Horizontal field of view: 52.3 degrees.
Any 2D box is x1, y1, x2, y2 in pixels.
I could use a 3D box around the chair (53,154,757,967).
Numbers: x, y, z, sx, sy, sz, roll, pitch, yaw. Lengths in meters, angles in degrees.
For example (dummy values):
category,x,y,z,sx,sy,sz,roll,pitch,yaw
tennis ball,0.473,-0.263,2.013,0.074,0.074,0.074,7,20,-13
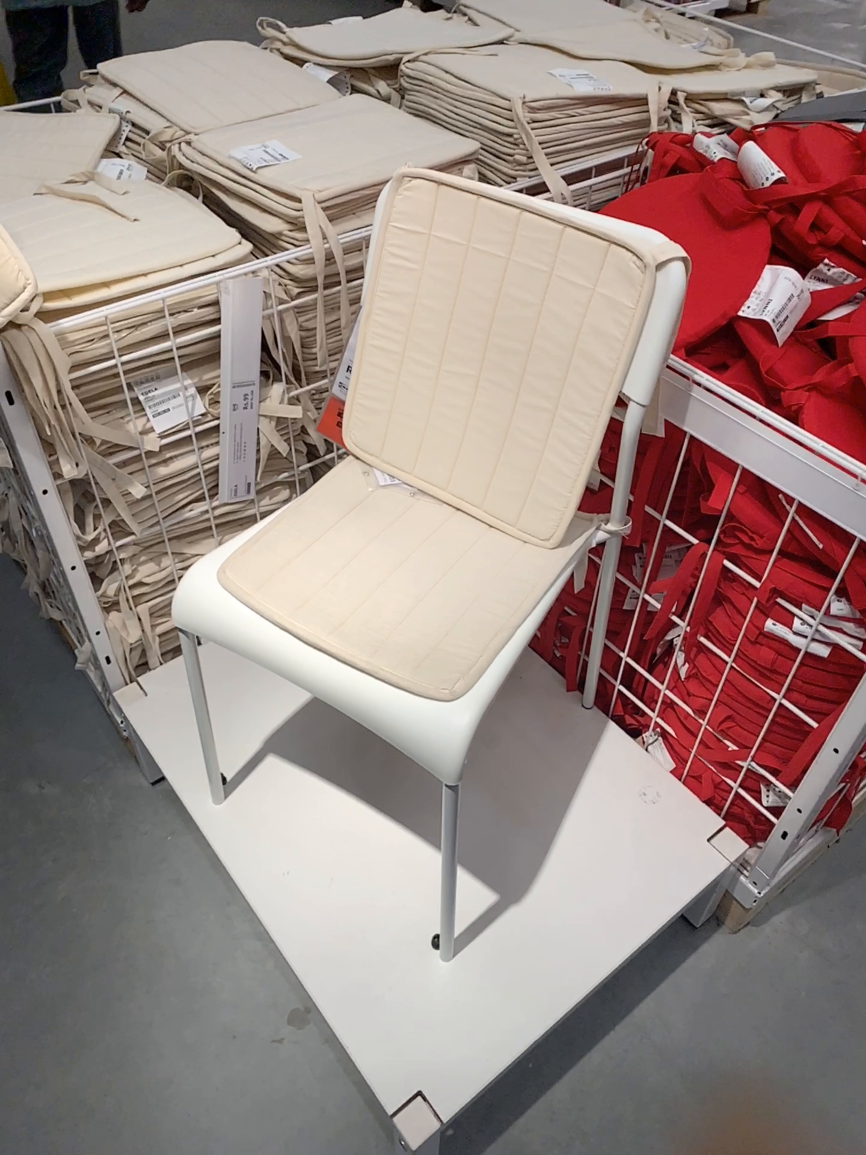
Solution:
category,x,y,z,sx,sy,sz,roll,pitch,yaw
chair,-0.007,-0.013,1.030,0.431,0.697,0.481,26,49,23
